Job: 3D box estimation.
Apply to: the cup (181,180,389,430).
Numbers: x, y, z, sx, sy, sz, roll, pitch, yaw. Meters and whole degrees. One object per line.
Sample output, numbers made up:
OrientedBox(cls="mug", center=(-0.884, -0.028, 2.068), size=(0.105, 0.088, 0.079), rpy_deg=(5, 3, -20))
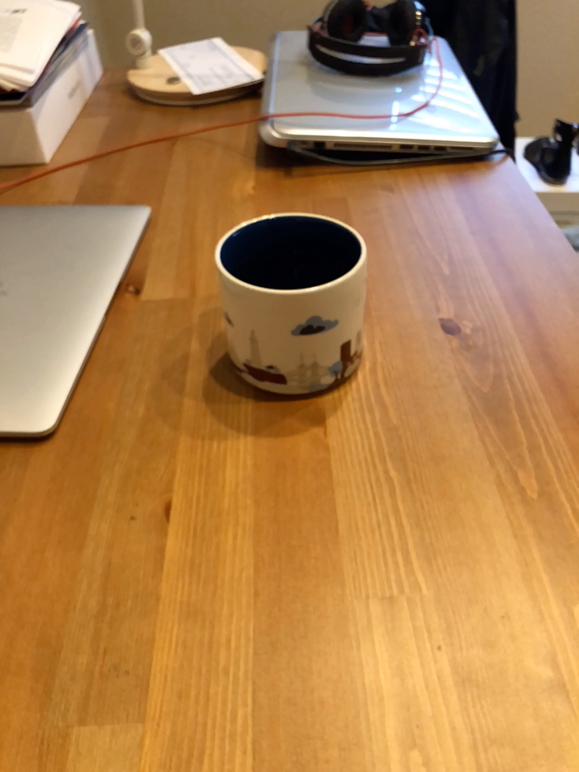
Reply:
OrientedBox(cls="cup", center=(-0.007, -0.061, 0.446), size=(0.100, 0.090, 0.141), rpy_deg=(-13, 43, -9))
